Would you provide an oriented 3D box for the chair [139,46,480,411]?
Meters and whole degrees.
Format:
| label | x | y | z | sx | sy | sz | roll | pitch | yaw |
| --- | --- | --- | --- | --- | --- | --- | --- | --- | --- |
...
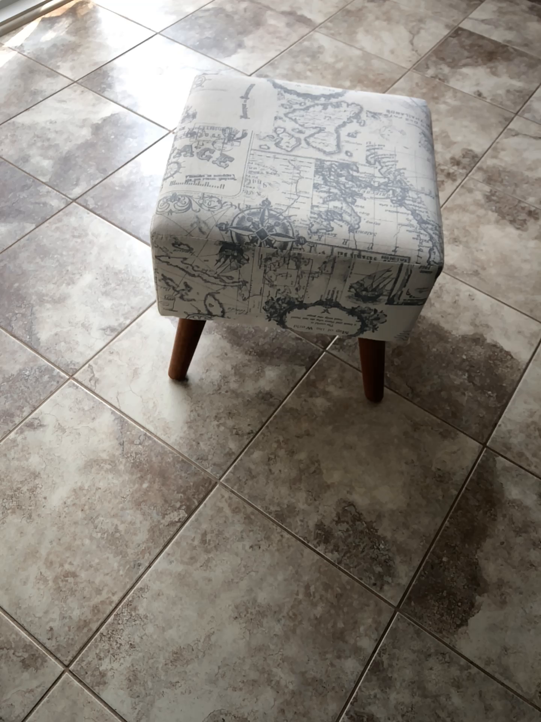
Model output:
| label | x | y | z | sx | sy | sz | roll | pitch | yaw |
| --- | --- | --- | --- | --- | --- | --- | --- | --- | --- |
| chair | 0.057 | -0.222 | 0.998 | 0.420 | 0.319 | 0.471 | 6 | 55 | 0 |
